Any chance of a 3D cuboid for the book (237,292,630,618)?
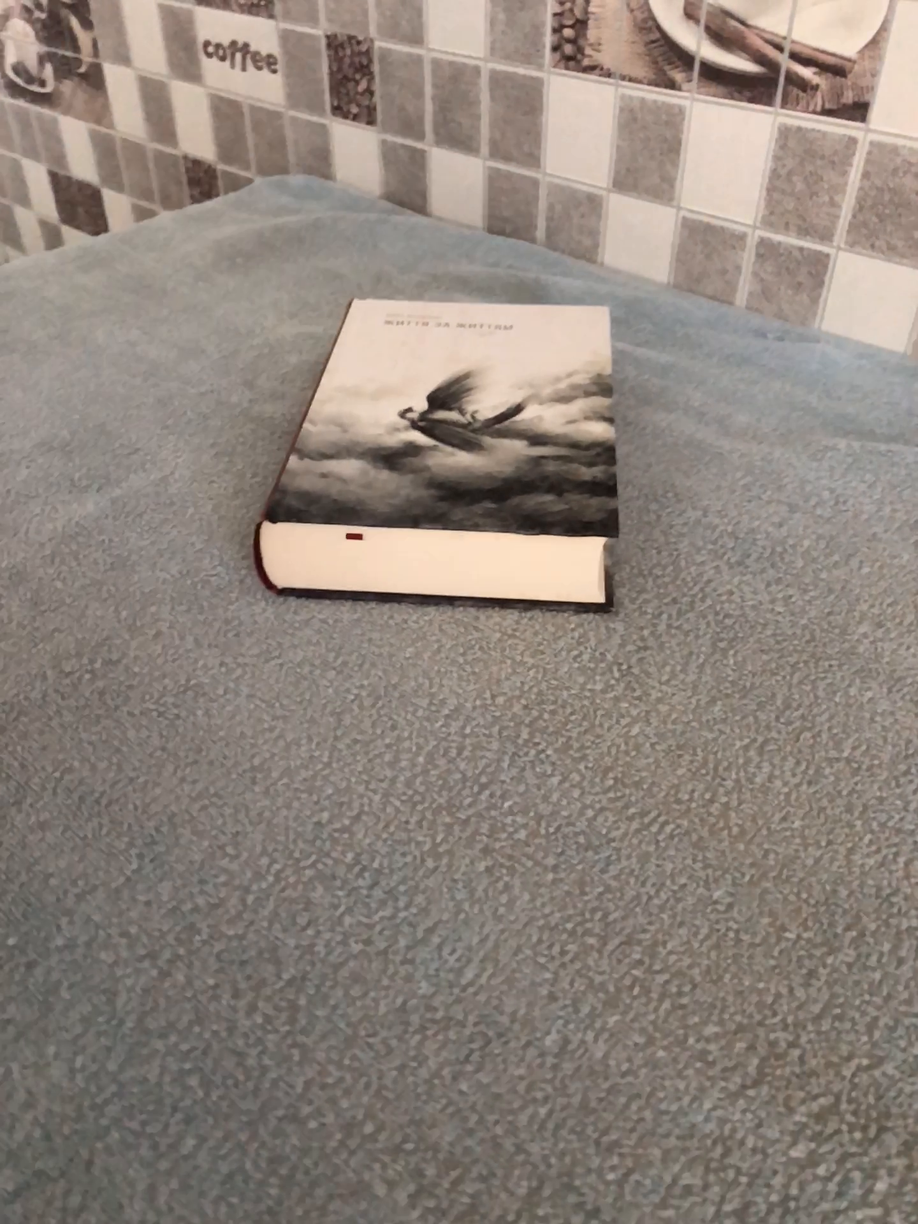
[{"bbox_3d":[-0.001,-0.089,0.493,0.155,0.040,0.222,4,41,4],"label":"book"}]
